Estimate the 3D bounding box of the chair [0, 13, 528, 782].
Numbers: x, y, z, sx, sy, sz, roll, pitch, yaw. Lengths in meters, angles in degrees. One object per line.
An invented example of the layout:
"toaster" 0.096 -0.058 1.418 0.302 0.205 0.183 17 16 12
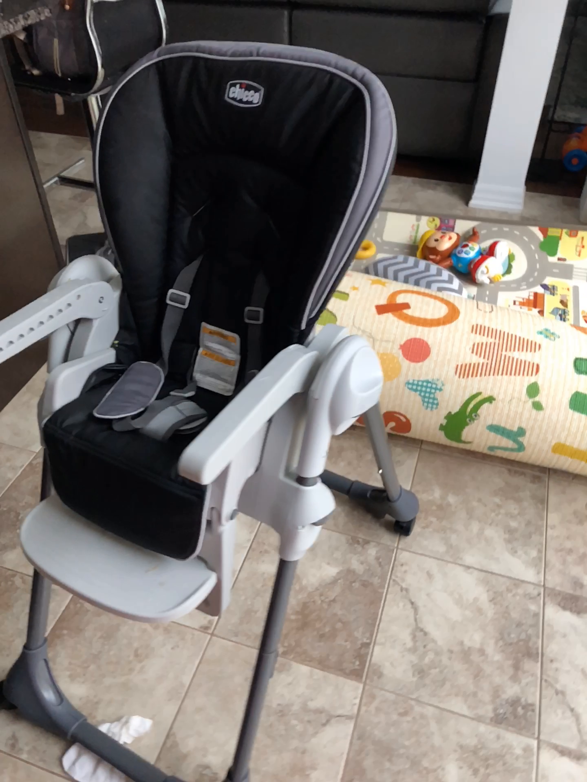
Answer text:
"chair" -0.160 0.064 1.074 0.651 0.996 0.883 20 46 21
